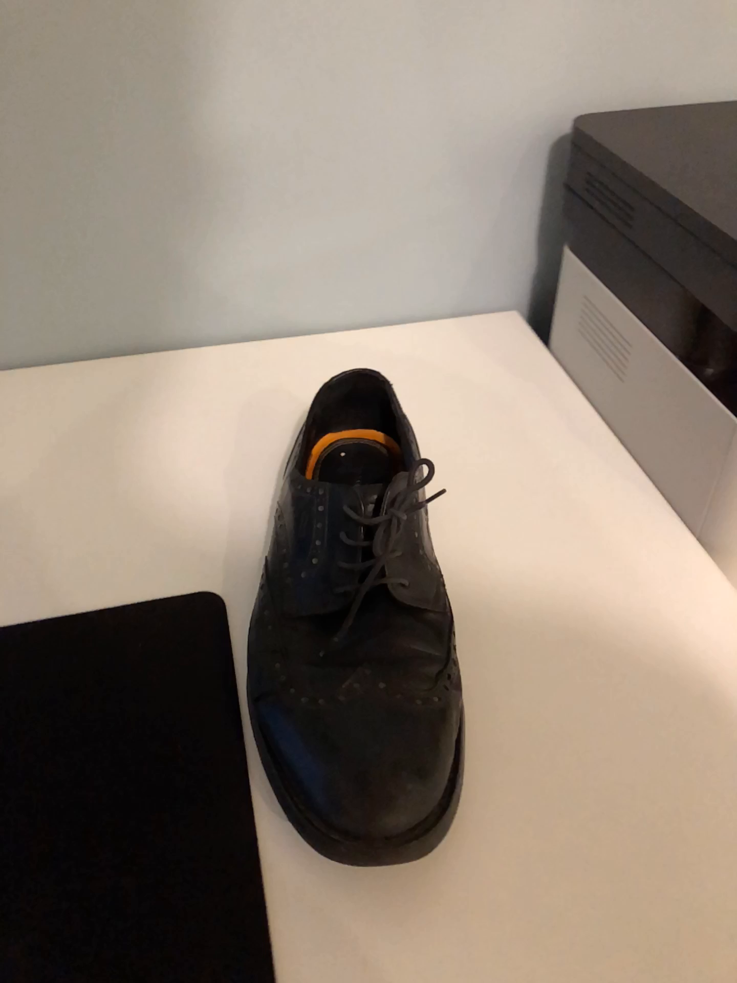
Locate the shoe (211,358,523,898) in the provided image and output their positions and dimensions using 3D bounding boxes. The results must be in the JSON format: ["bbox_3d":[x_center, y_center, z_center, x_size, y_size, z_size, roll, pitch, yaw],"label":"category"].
[{"bbox_3d":[-0.009,0.044,0.454,0.119,0.079,0.315,-2,41,-2],"label":"shoe"}]
